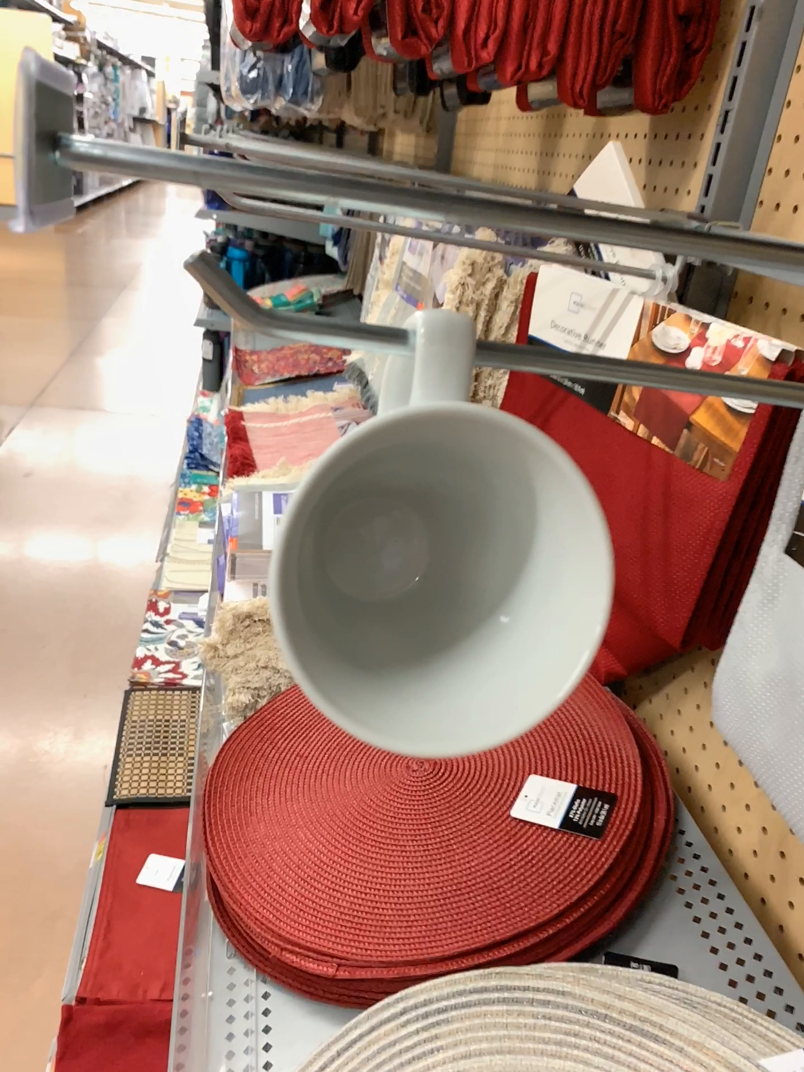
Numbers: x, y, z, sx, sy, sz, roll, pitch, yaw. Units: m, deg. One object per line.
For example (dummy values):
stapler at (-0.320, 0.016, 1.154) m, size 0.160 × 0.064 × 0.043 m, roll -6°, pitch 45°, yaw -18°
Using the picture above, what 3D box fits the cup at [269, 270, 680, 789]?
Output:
cup at (0.005, -0.011, 0.263) m, size 0.090 × 0.120 × 0.140 m, roll 2°, pitch 11°, yaw -10°
